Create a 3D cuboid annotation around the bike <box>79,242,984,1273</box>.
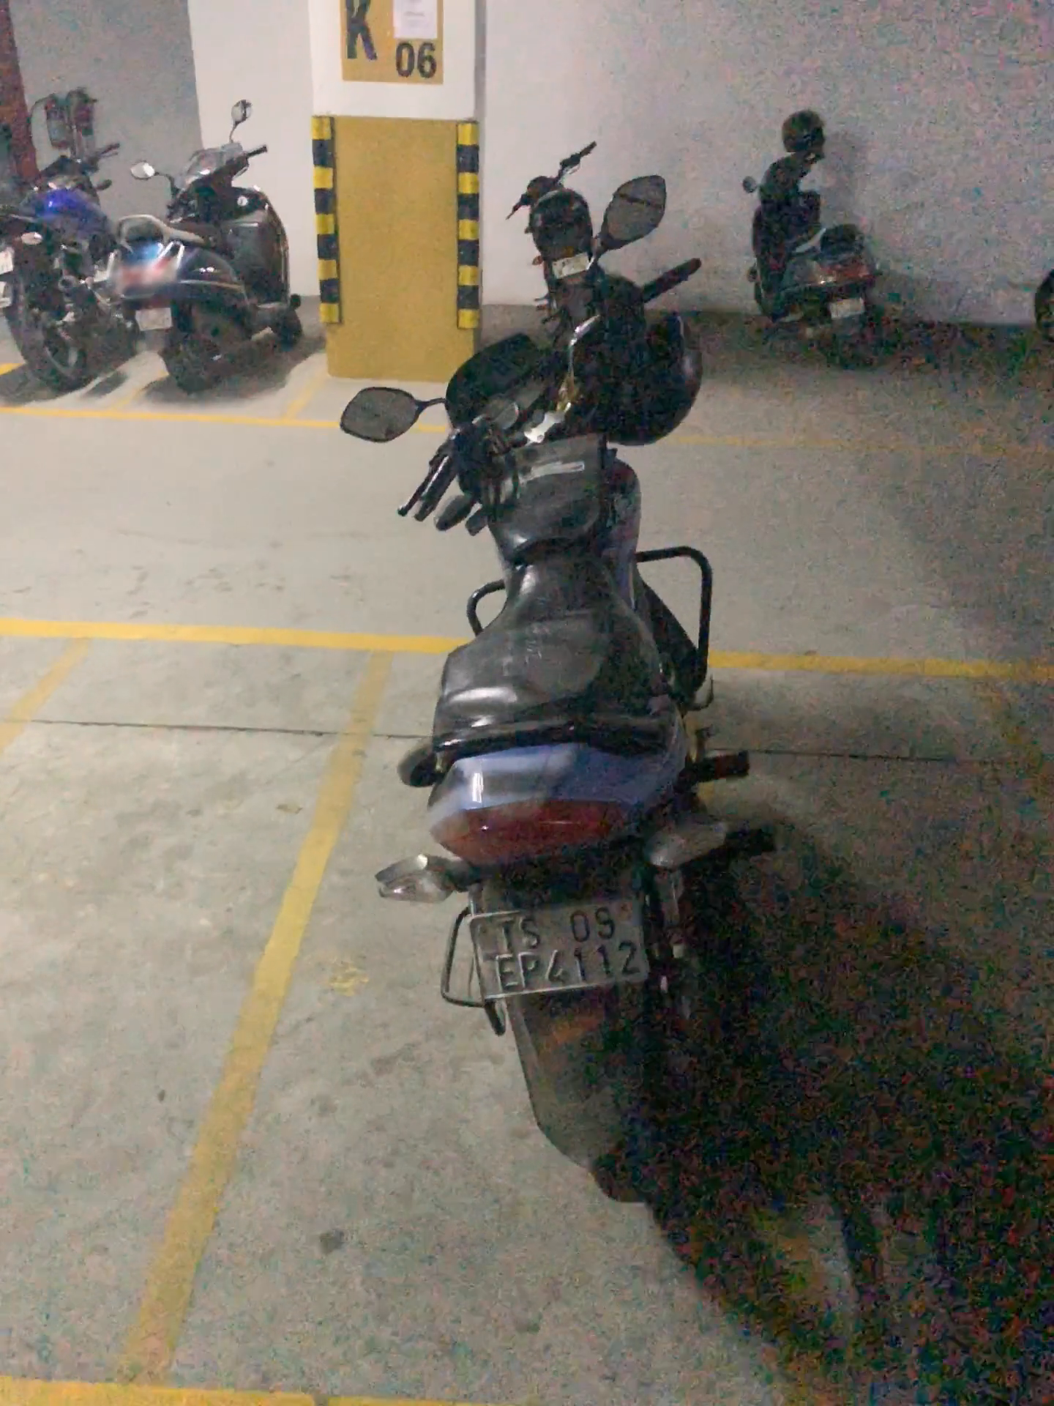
[{"bbox_3d":[-0.094,-0.133,1.945,0.780,1.108,1.709,0,29,-5],"label":"bike"}]
